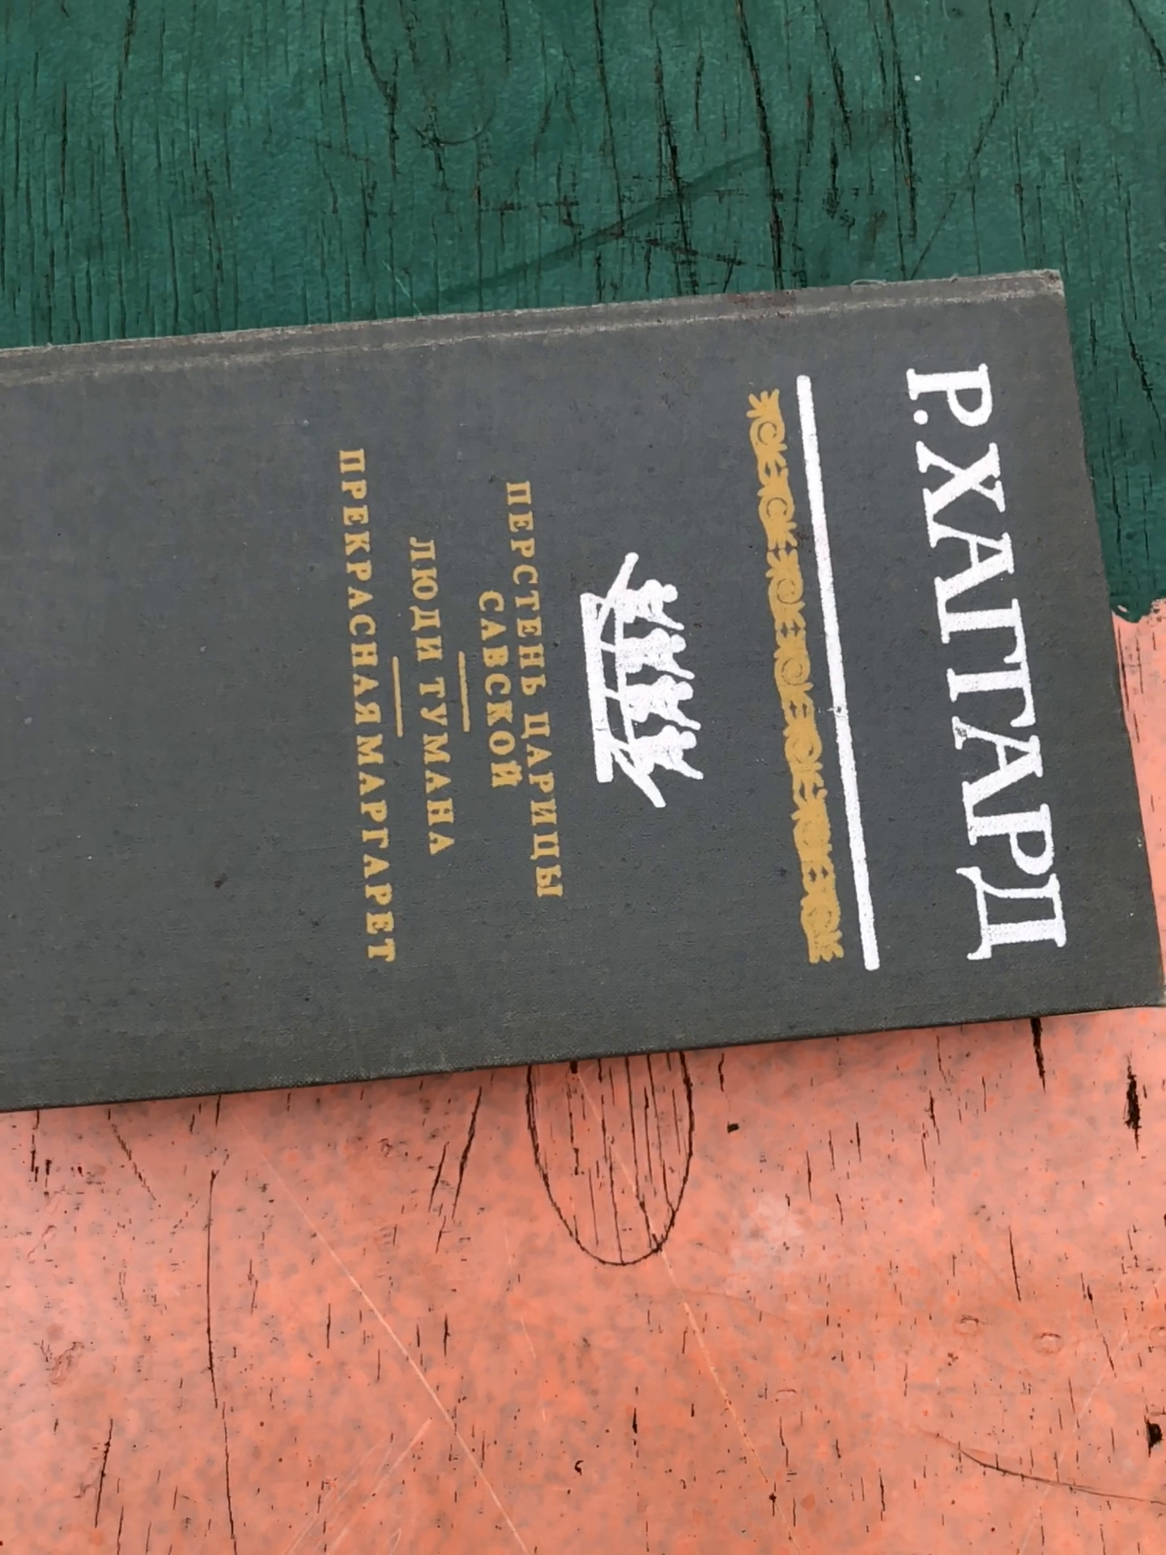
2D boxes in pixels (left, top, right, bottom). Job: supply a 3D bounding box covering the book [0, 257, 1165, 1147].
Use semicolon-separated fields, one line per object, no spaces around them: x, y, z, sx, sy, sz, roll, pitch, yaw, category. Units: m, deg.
-0.004;-0.016;0.251;0.221;0.030;0.150;-4;82;-1;book
